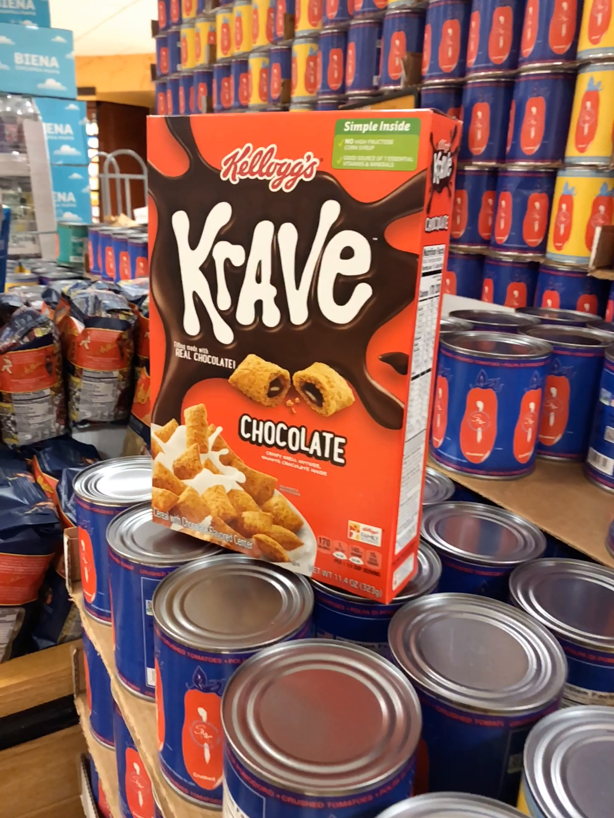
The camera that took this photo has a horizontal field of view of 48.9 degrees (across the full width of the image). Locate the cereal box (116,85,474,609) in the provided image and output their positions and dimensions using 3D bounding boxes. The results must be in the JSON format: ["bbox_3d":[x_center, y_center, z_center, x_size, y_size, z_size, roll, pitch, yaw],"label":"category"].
[{"bbox_3d":[-0.020,-0.045,0.439,0.210,0.288,0.060,12,19,28],"label":"cereal box"}]
